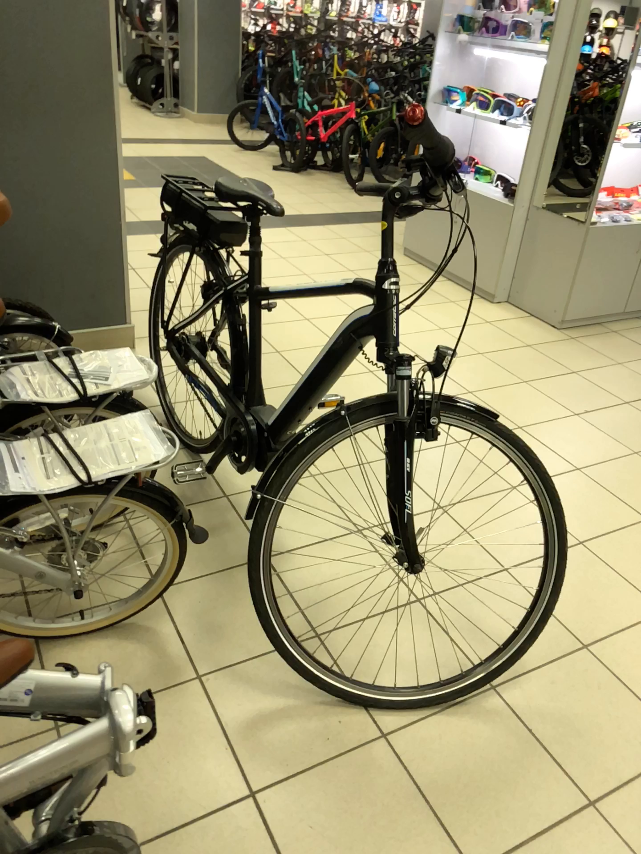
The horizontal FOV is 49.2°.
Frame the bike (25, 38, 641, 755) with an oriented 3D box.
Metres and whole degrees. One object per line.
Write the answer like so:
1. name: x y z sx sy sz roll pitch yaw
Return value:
1. bike: -0.030 -0.253 1.912 0.698 1.176 1.615 -21 41 -39
